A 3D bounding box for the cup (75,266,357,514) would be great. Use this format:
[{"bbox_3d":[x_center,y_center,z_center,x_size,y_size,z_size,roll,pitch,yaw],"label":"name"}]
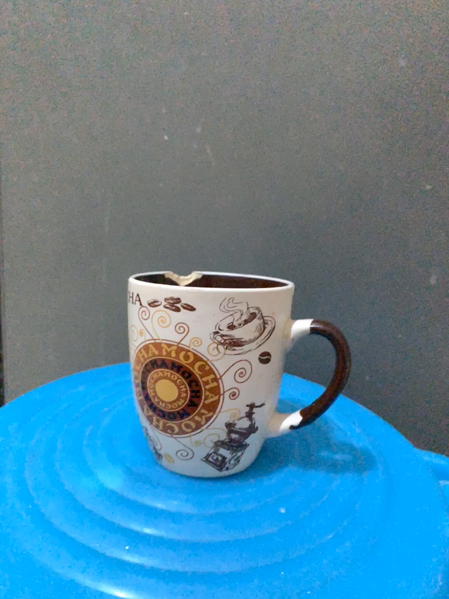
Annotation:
[{"bbox_3d":[-0.001,0.030,0.229,0.110,0.080,0.080,7,9,21],"label":"cup"}]
